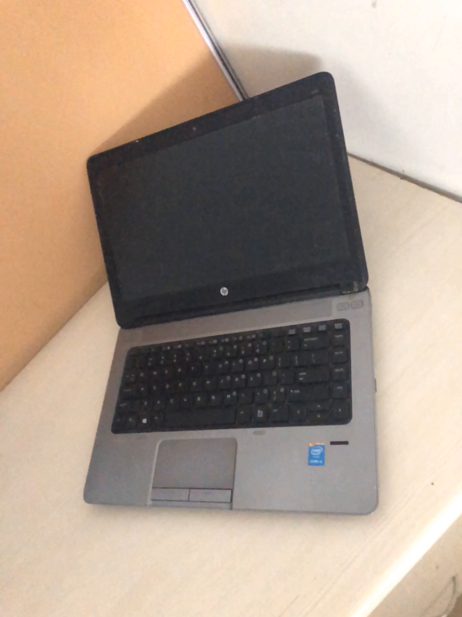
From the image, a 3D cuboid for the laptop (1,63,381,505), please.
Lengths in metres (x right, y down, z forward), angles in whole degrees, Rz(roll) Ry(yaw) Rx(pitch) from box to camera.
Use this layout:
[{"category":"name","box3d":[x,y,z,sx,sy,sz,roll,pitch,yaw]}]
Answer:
[{"category":"laptop","box3d":[-0.025,-0.019,0.534,0.317,0.125,0.392,-9,58,27]}]
